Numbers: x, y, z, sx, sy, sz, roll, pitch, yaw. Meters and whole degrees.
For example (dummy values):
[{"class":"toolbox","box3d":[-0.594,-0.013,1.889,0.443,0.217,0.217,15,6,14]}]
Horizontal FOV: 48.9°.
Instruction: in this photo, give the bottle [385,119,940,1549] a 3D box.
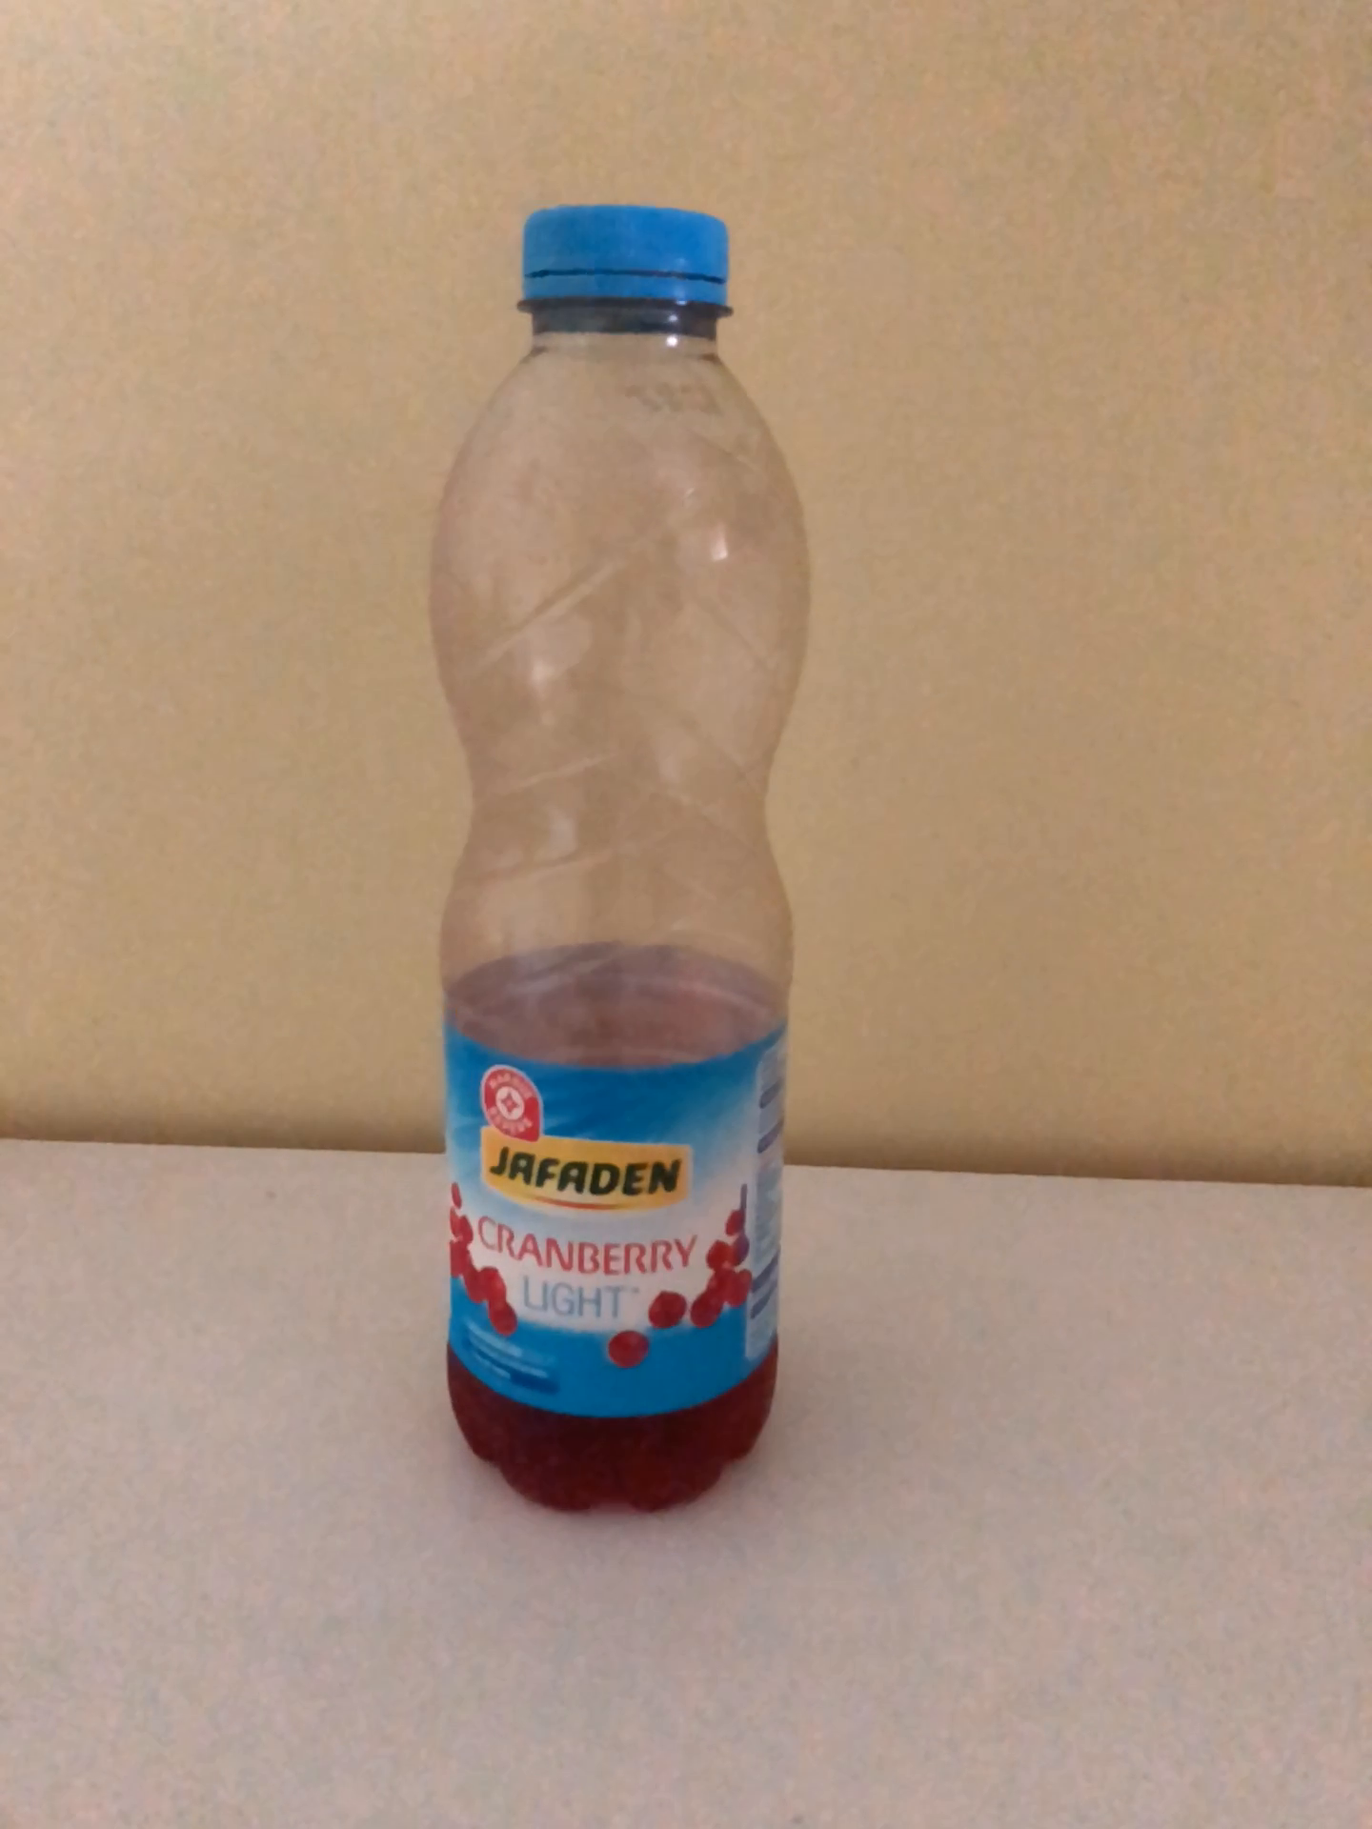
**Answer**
[{"class":"bottle","box3d":[-0.003,-0.011,0.319,0.090,0.269,0.080,2,16,5]}]
